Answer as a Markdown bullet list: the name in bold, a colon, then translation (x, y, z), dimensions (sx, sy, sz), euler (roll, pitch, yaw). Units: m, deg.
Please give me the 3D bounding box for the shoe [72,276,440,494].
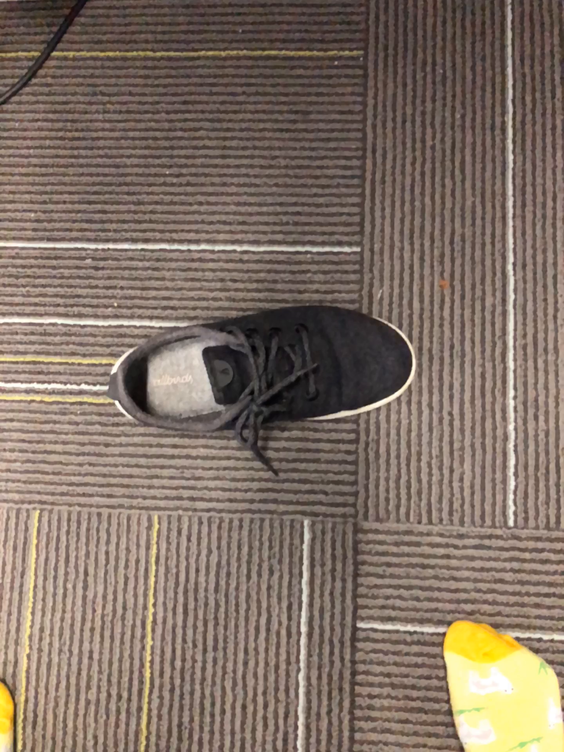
- **shoe**: translation (-0.023, 0.011, 0.530), dimensions (0.280, 0.060, 0.140), euler (-8, 82, 3)
